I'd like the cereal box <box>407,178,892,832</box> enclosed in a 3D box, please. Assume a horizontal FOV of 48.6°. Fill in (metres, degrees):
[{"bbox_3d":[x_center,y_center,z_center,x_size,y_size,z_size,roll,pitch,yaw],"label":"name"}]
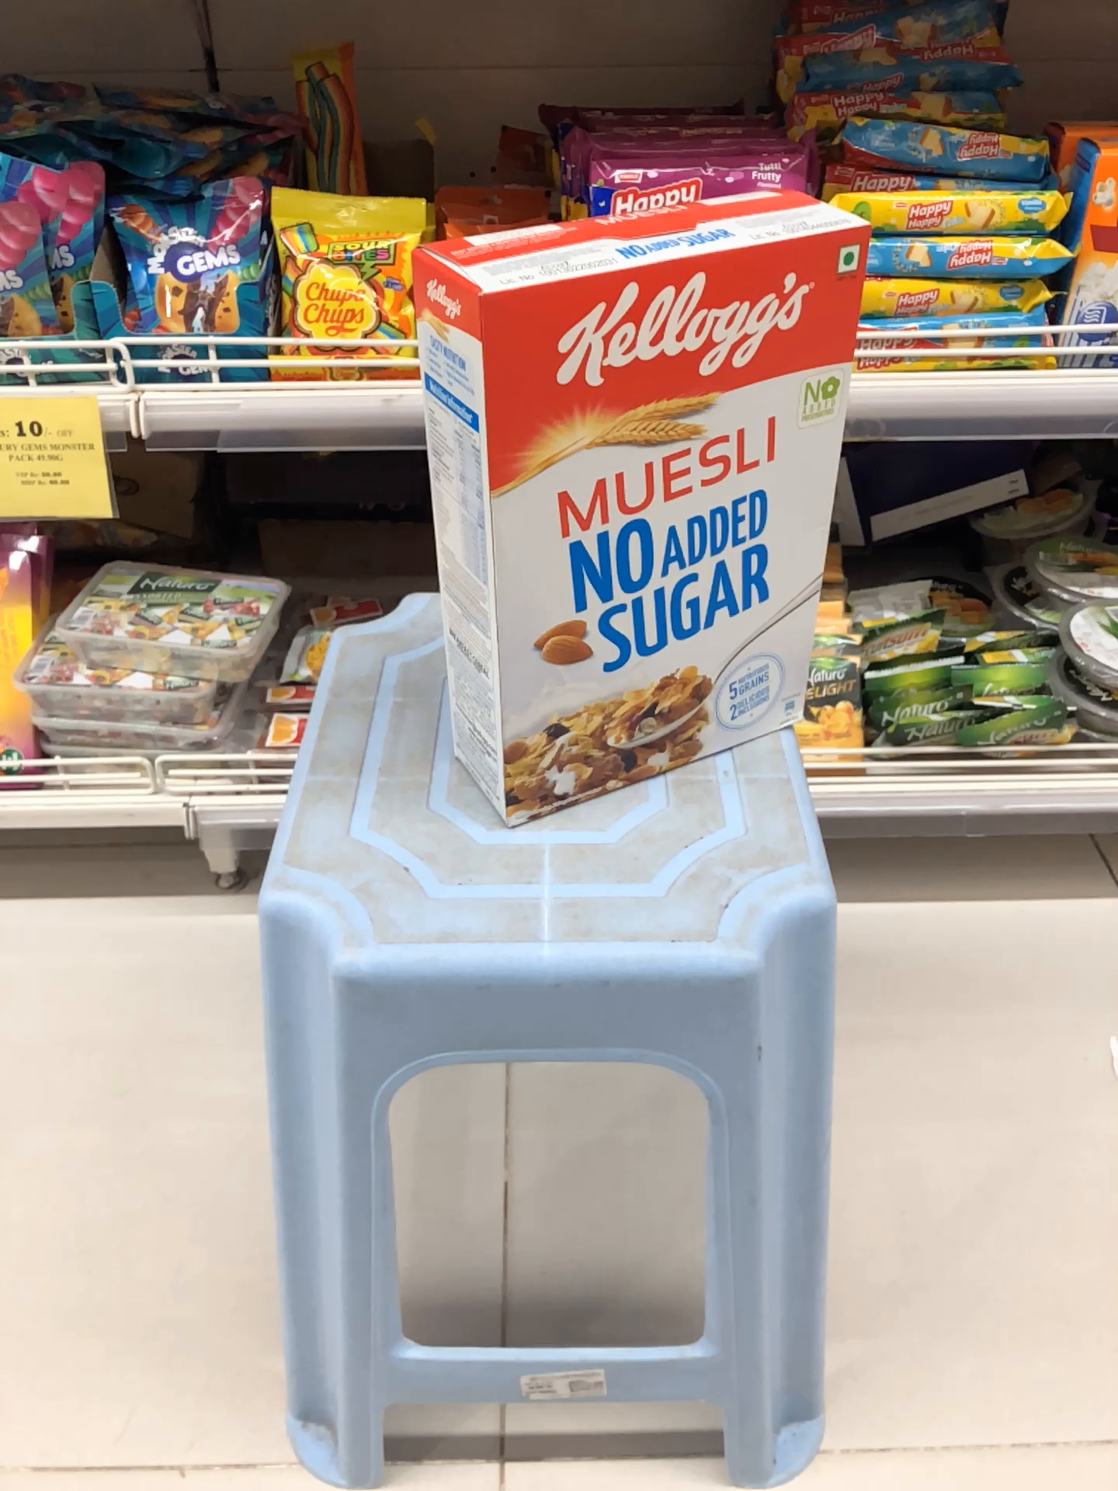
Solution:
[{"bbox_3d":[0.041,-0.109,0.583,0.190,0.259,0.070,-20,41,-23],"label":"cereal box"}]
